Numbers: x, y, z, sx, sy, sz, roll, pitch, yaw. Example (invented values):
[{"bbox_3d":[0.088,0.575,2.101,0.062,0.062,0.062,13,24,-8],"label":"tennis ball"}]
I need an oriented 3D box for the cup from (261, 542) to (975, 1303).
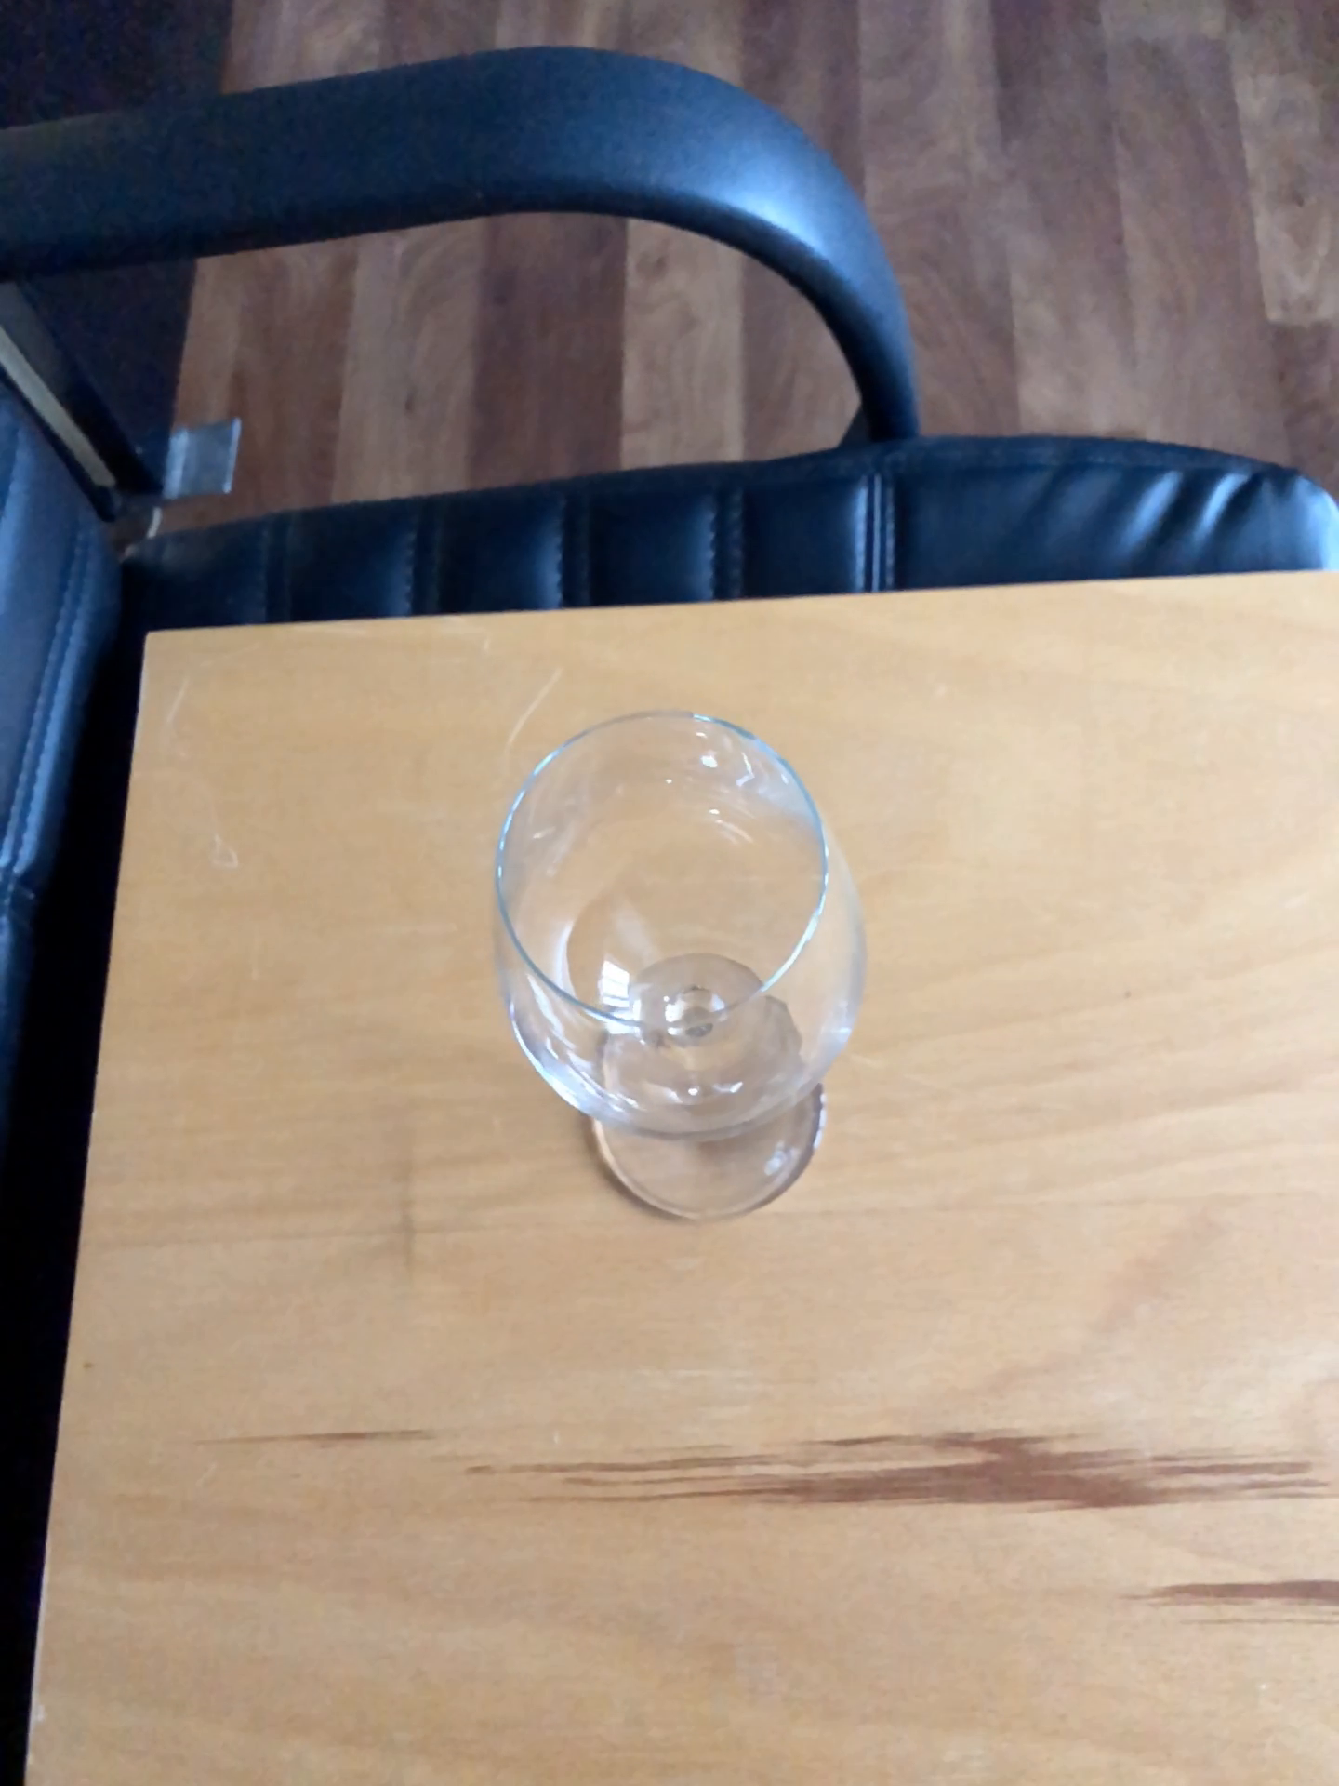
[{"bbox_3d":[-0.002,0.028,0.355,0.089,0.219,0.089,-1,71,3],"label":"cup"}]
